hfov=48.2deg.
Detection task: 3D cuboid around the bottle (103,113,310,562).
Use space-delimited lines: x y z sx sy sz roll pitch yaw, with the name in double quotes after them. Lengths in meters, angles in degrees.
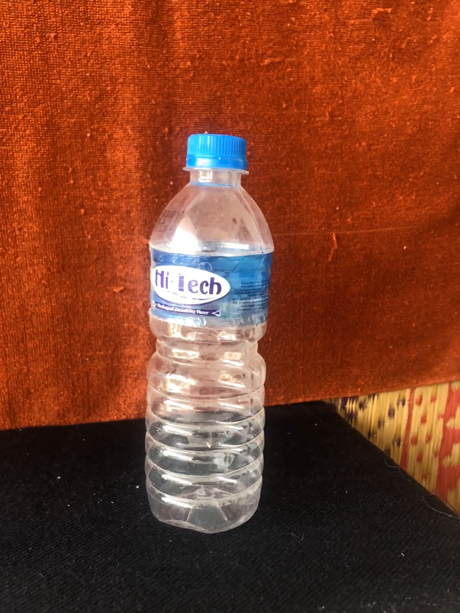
-0.010 0.011 0.254 0.070 0.189 0.070 2 12 0 "bottle"
